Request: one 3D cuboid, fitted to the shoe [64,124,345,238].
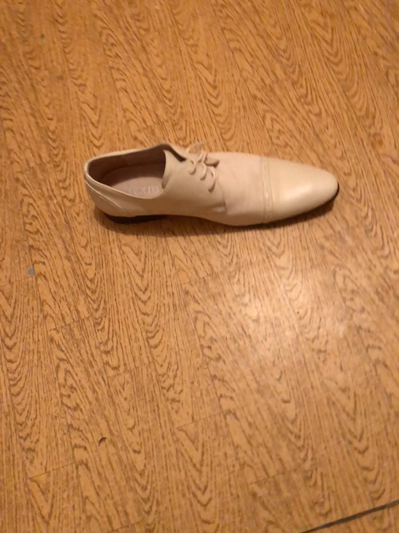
[{"bbox_3d":[0.008,-0.102,0.546,0.310,0.100,0.100,1,73,6],"label":"shoe"}]
